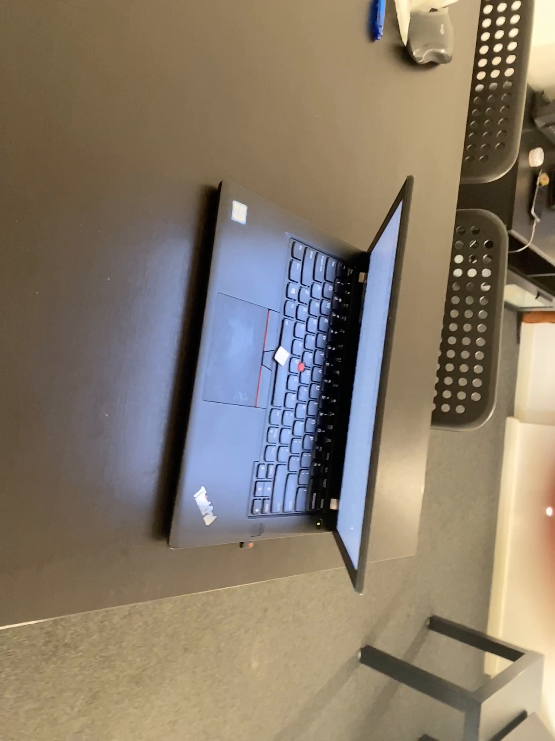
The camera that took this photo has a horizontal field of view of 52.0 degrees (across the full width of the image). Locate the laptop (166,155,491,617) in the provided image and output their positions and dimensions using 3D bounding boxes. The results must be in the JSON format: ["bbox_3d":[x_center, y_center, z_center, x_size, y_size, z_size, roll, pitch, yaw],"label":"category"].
[{"bbox_3d":[0.055,0.017,0.491,0.217,0.138,0.299,10,86,-46],"label":"laptop"}]
